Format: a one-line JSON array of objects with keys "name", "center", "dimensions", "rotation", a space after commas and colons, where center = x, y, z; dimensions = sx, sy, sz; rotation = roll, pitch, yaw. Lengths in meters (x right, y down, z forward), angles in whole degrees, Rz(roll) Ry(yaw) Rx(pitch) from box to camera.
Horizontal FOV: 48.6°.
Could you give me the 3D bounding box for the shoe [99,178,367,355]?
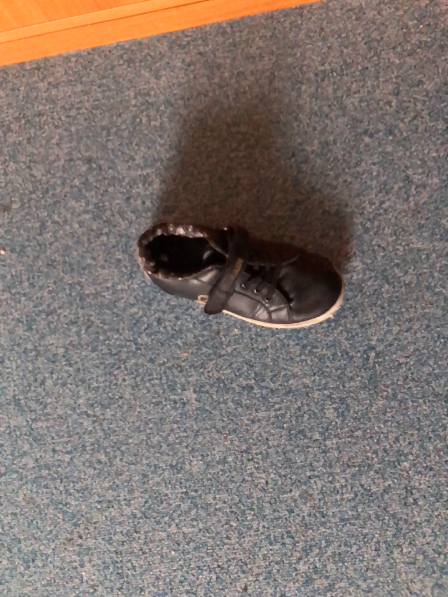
[{"name": "shoe", "center": [0.011, -0.029, 0.508], "dimensions": [0.230, 0.090, 0.110], "rotation": [16, 83, 8]}]
